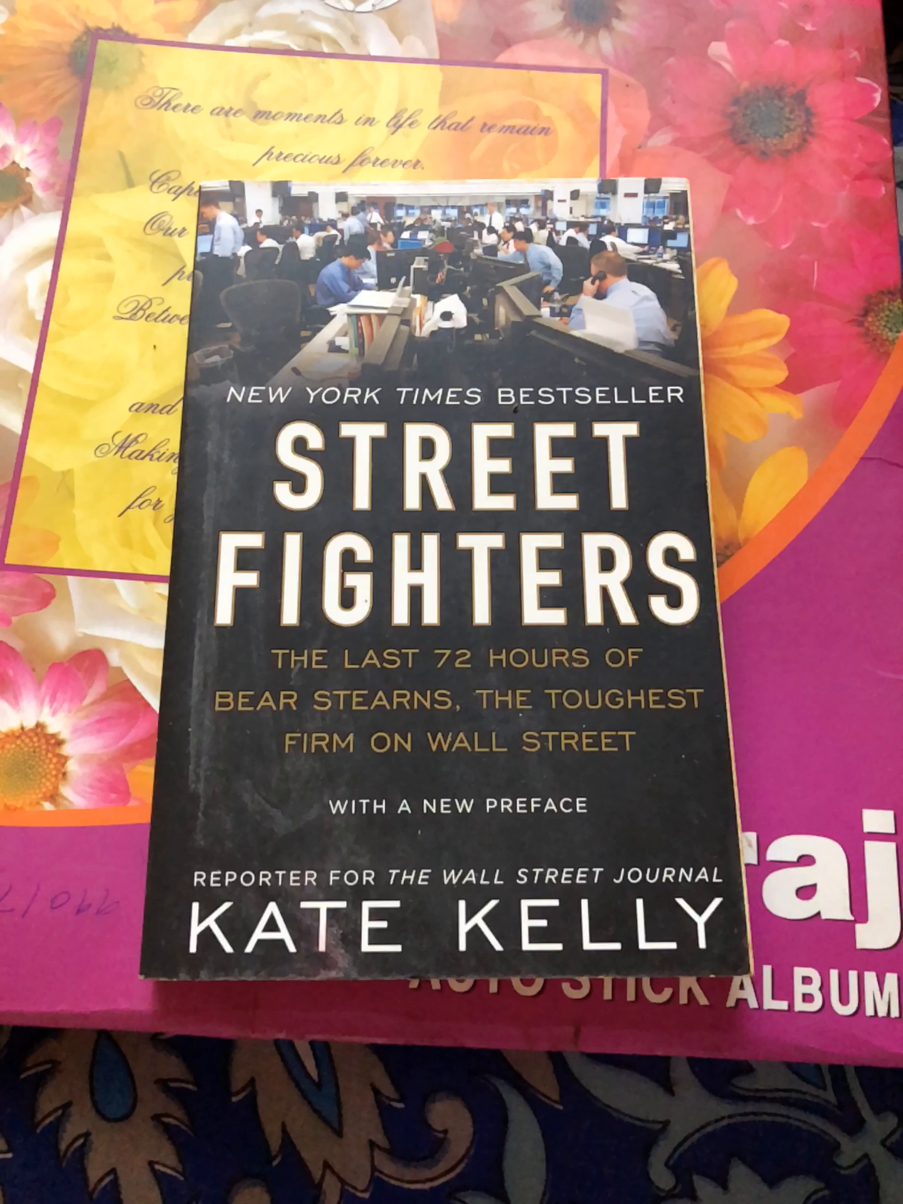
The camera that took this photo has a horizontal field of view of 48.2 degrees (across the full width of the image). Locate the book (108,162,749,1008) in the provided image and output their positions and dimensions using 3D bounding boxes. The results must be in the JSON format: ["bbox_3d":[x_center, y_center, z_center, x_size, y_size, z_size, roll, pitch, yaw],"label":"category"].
[{"bbox_3d":[-0.005,-0.010,0.260,0.140,0.030,0.210,-1,76,4],"label":"book"}]
